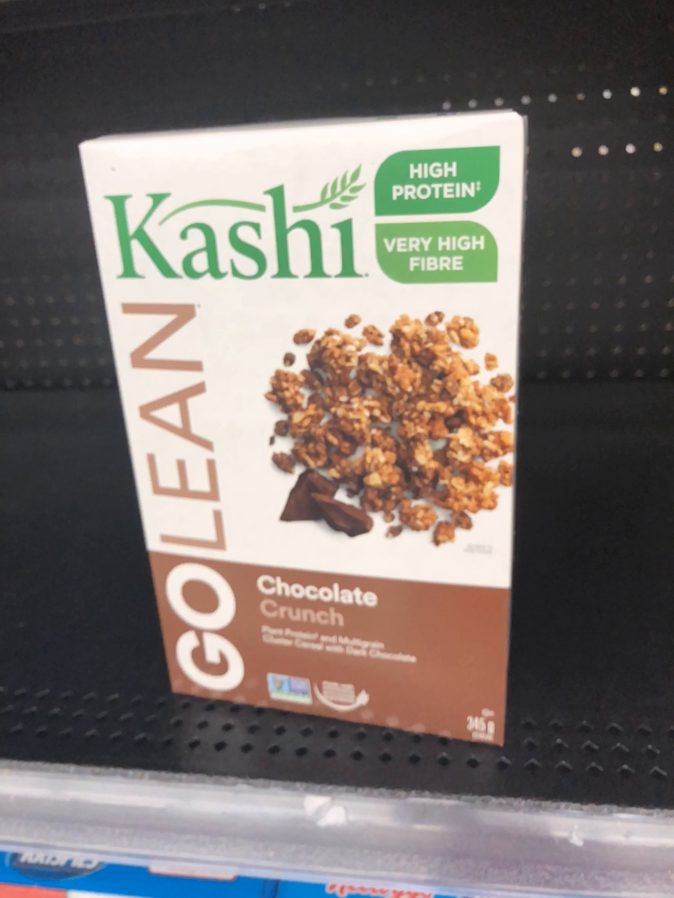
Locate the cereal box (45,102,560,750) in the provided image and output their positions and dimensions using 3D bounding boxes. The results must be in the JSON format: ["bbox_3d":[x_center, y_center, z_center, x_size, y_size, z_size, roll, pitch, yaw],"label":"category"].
[{"bbox_3d":[-0.006,-0.003,0.322,0.180,0.249,0.050,3,22,16],"label":"cereal box"}]
